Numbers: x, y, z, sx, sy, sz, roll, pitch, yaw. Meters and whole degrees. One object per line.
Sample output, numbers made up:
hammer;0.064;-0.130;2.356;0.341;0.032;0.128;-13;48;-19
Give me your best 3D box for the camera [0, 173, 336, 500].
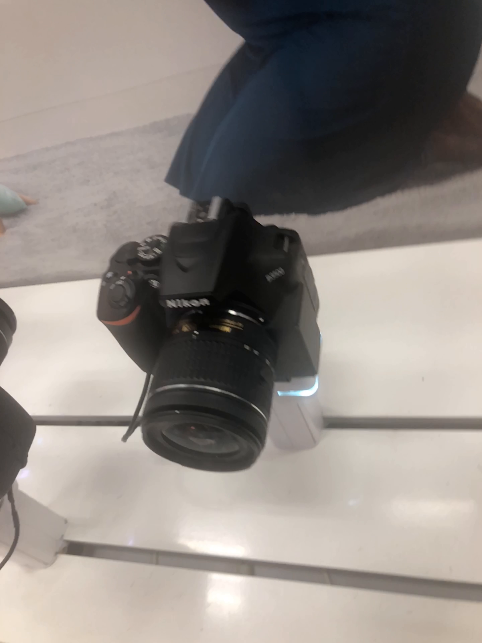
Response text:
camera;-0.034;0.007;0.286;0.141;0.090;0.130;-1;52;22
